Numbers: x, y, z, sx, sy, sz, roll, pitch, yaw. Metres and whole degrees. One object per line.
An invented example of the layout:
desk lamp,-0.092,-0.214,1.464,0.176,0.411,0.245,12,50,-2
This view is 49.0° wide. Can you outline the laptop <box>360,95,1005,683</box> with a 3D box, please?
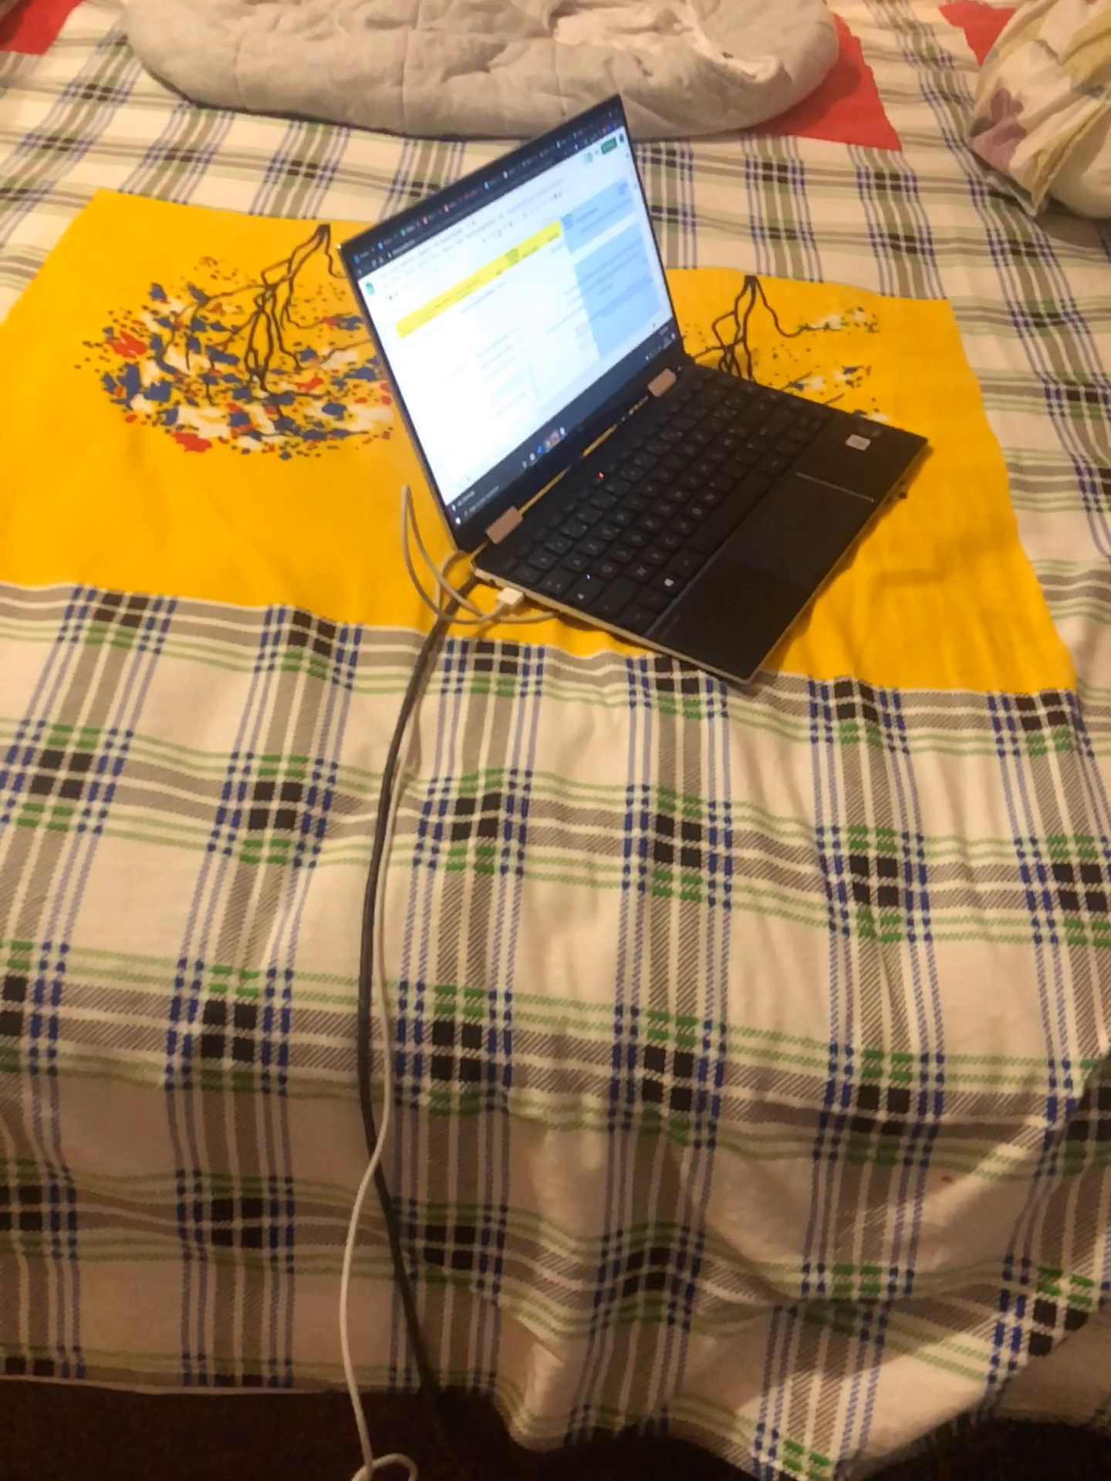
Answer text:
laptop,0.074,-0.223,0.715,0.253,0.158,0.275,27,52,20
